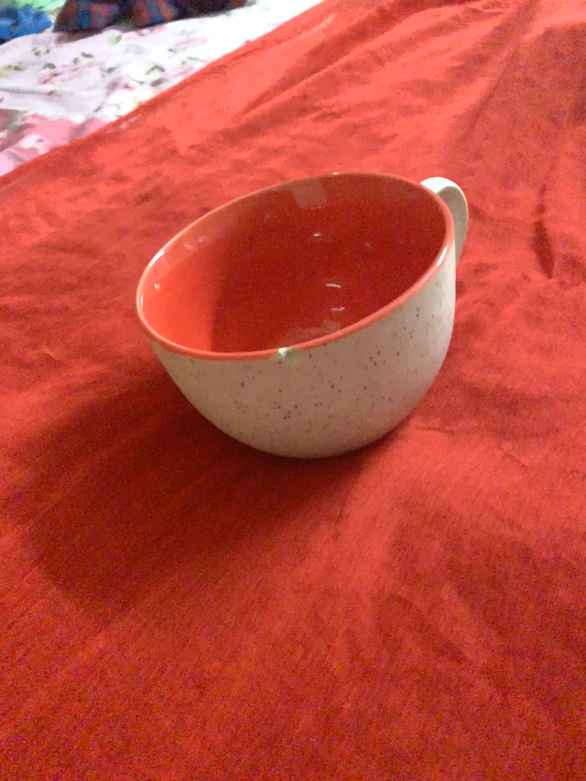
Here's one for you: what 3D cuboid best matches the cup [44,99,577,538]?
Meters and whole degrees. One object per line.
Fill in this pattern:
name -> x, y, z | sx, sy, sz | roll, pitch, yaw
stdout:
cup -> 0.006, -0.045, 0.239 | 0.140, 0.069, 0.131 | -8, 42, 7
